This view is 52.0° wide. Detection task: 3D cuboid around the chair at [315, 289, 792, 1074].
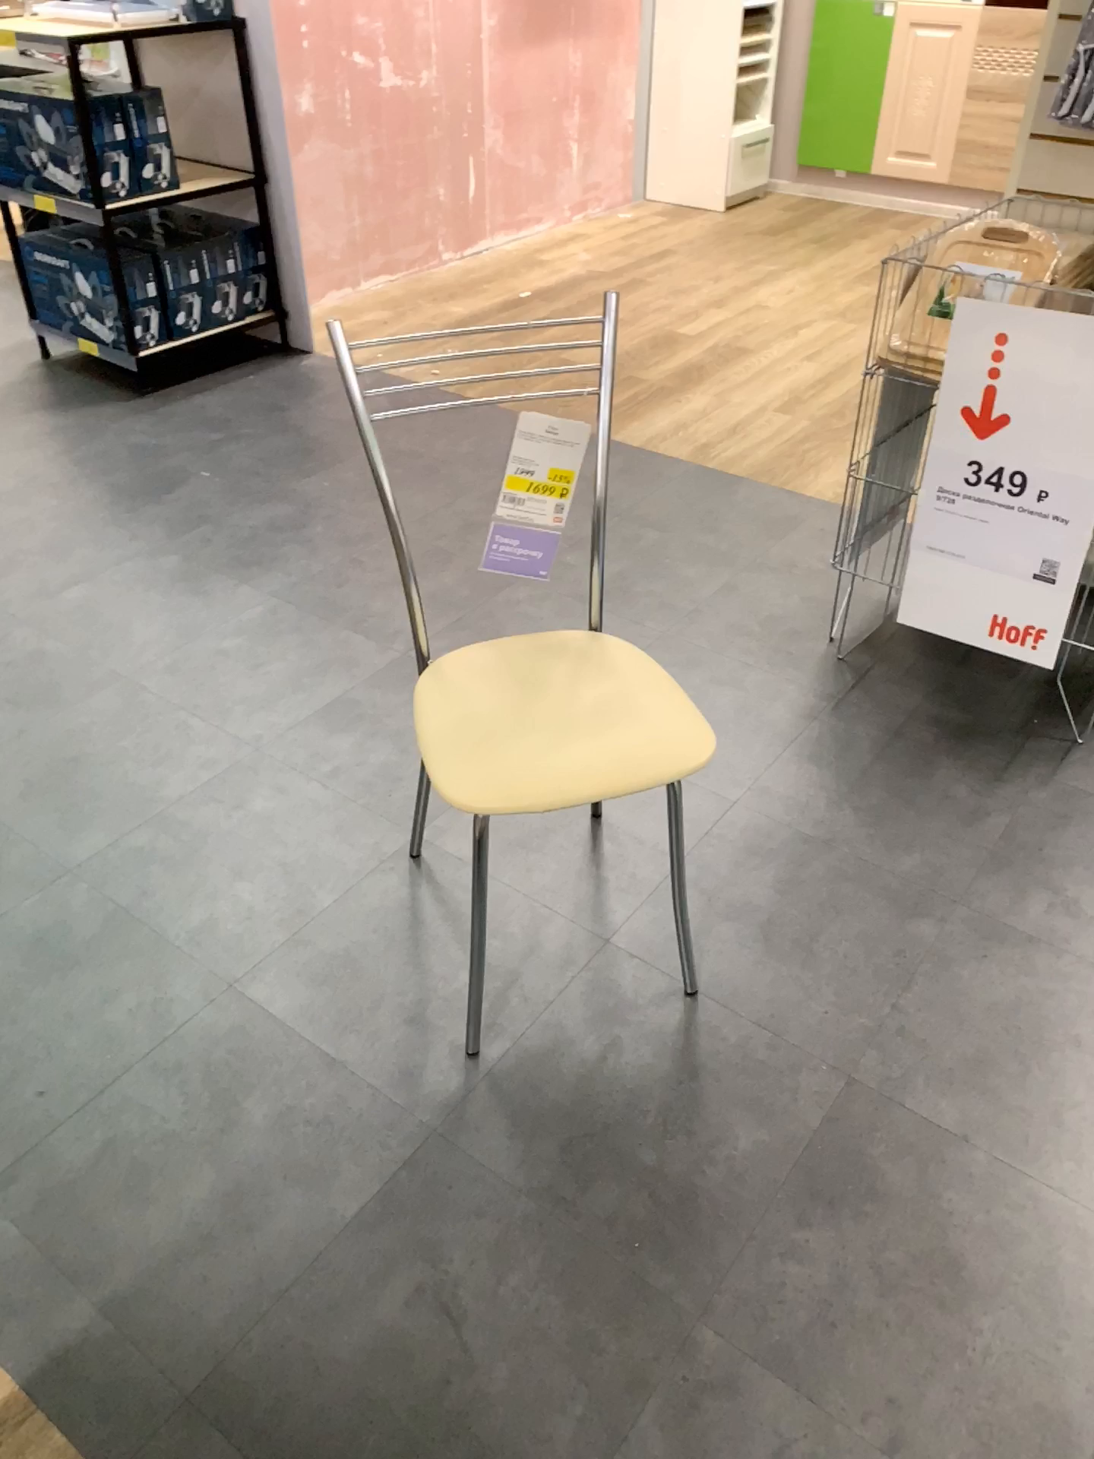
[{"bbox_3d":[-0.022,-0.054,1.547,0.410,0.905,0.482,-11,38,-15],"label":"chair"}]
